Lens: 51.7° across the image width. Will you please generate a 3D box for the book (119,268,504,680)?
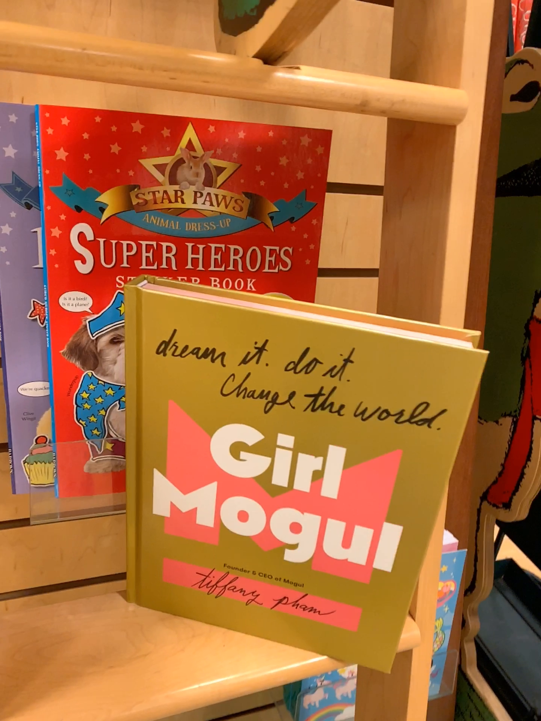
[{"bbox_3d":[0.005,0.072,0.317,0.180,0.219,0.030,11,25,8],"label":"book"}]
